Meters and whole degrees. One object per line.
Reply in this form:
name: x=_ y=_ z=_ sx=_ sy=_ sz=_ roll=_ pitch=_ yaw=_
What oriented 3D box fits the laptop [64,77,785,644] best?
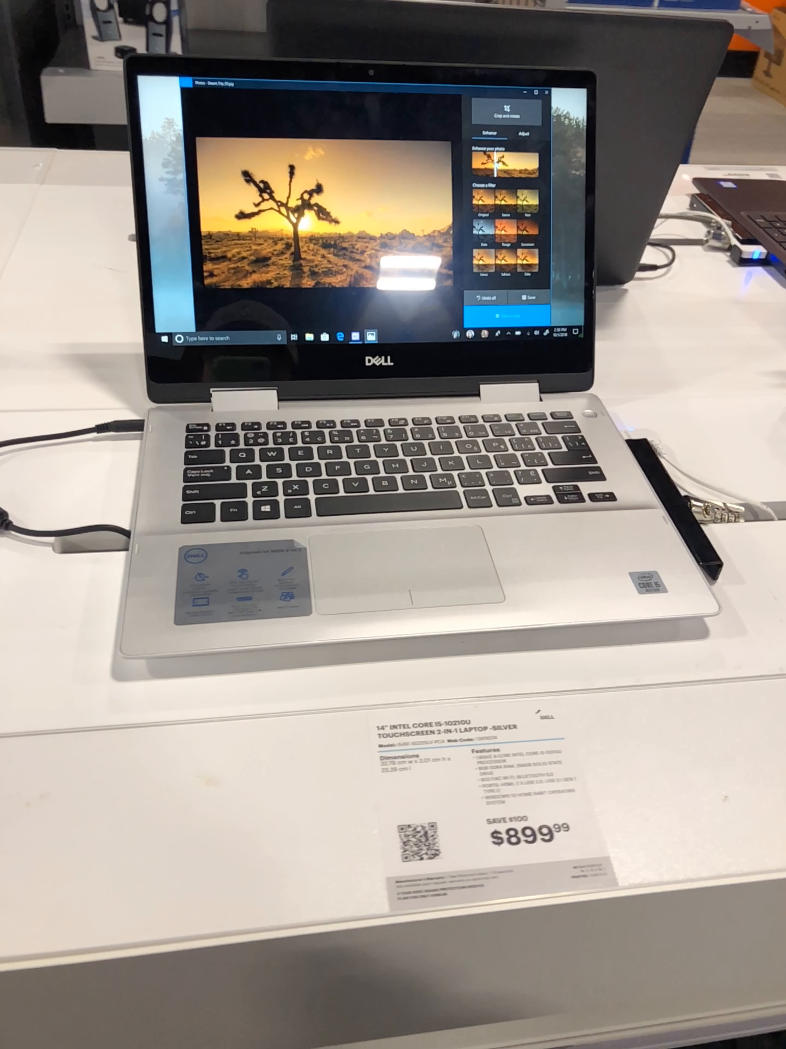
laptop: x=0.008 y=-0.122 z=0.513 sx=0.311 sy=0.195 sz=0.328 roll=-3 pitch=39 yaw=-7
